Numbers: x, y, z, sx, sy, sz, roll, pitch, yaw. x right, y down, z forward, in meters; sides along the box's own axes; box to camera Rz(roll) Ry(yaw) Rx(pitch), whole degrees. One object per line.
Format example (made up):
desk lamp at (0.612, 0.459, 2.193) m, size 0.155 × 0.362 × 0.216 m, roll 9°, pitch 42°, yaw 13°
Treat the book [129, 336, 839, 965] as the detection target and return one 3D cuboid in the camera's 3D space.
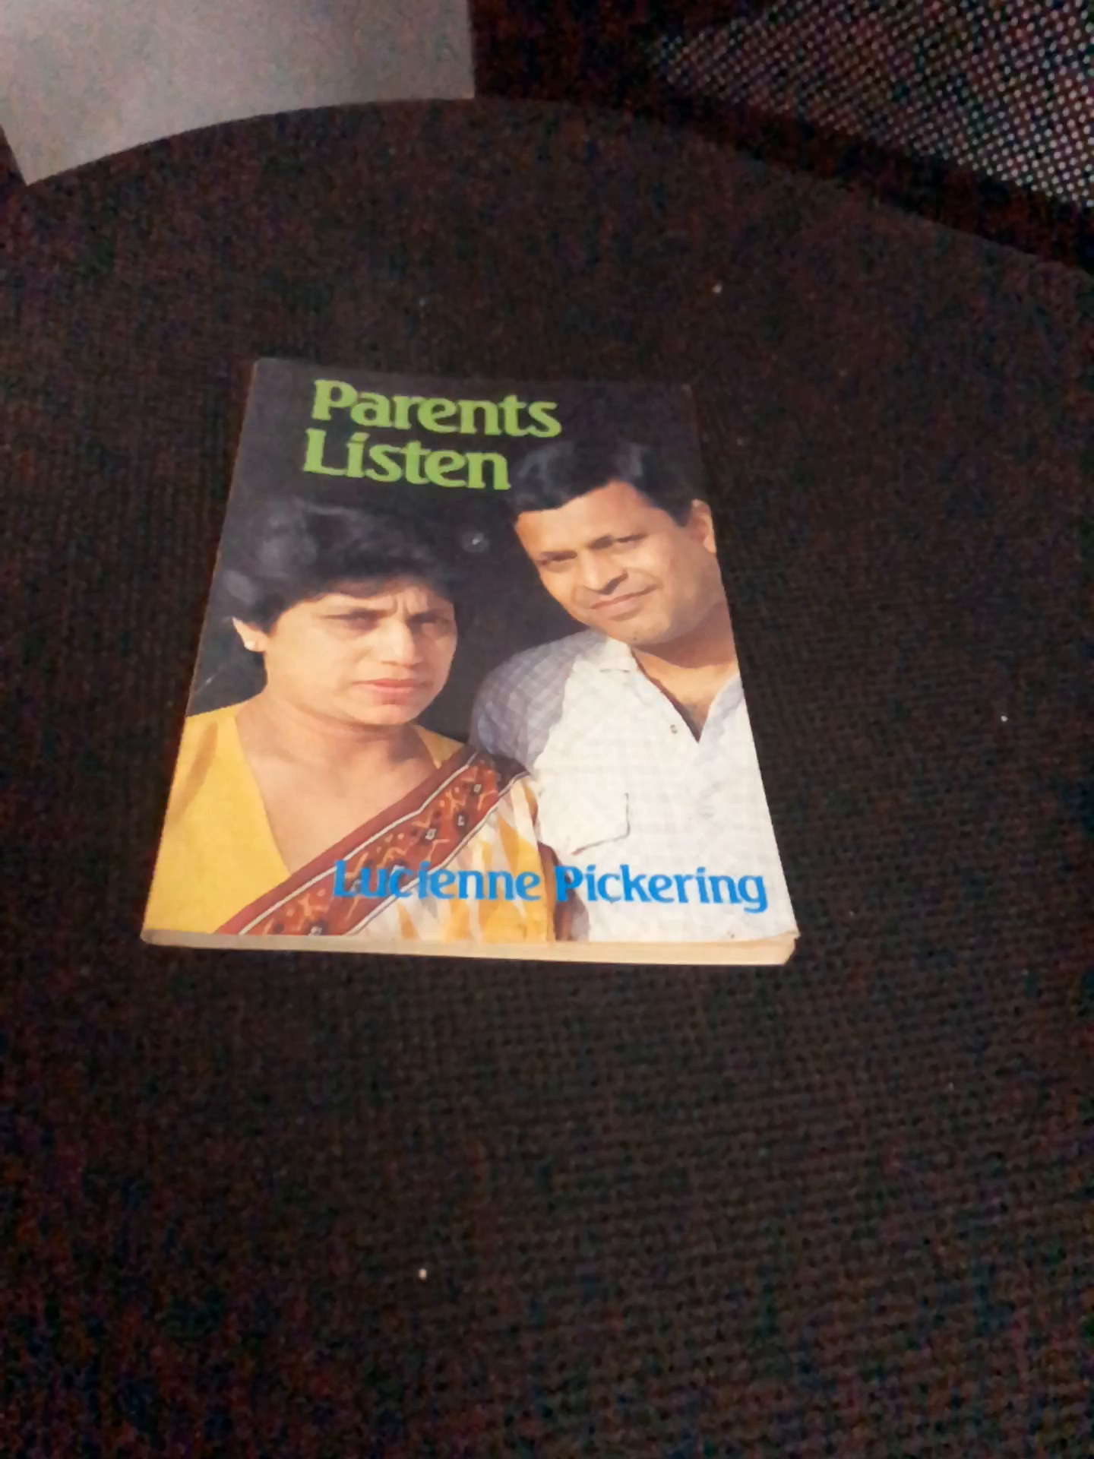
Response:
book at (-0.013, -0.032, 0.287) m, size 0.130 × 0.010 × 0.191 m, roll 3°, pitch 48°, yaw -7°
